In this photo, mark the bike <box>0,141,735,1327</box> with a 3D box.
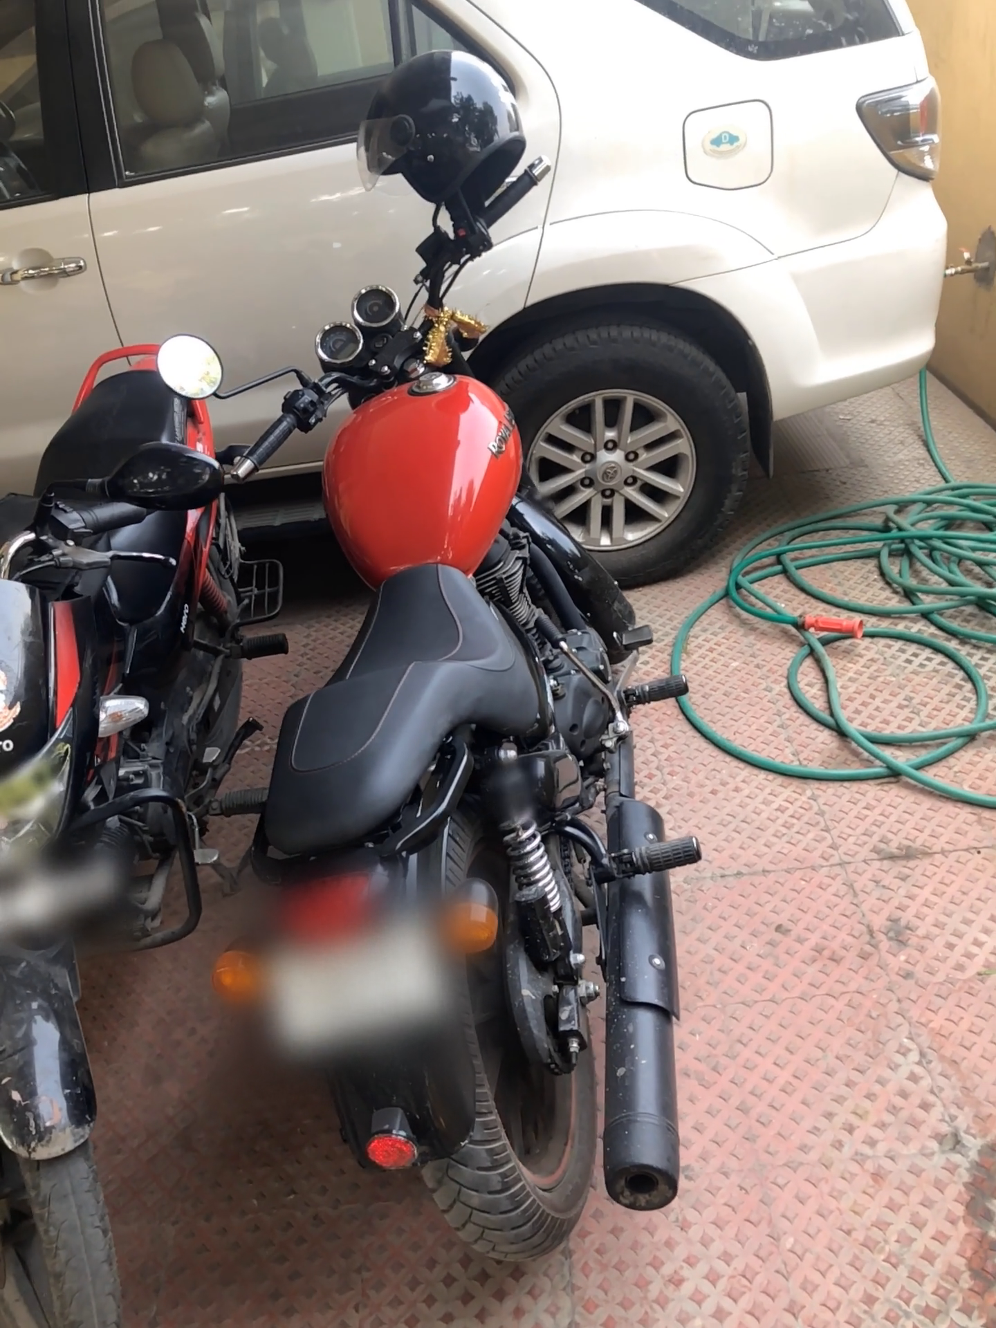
[{"bbox_3d":[-0.164,-0.045,1.881,0.820,1.270,1.722,-6,32,4],"label":"bike"}]
